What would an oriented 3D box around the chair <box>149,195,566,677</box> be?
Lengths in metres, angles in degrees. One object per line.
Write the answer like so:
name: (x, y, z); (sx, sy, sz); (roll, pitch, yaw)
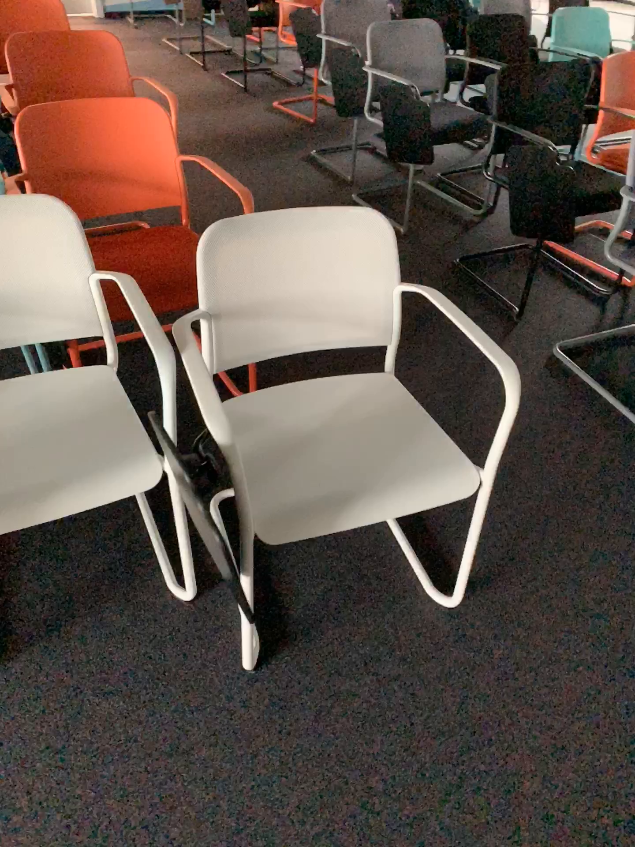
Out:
chair: (0.014, 0.016, 1.376); (0.561, 0.756, 0.553); (-11, 43, -17)
